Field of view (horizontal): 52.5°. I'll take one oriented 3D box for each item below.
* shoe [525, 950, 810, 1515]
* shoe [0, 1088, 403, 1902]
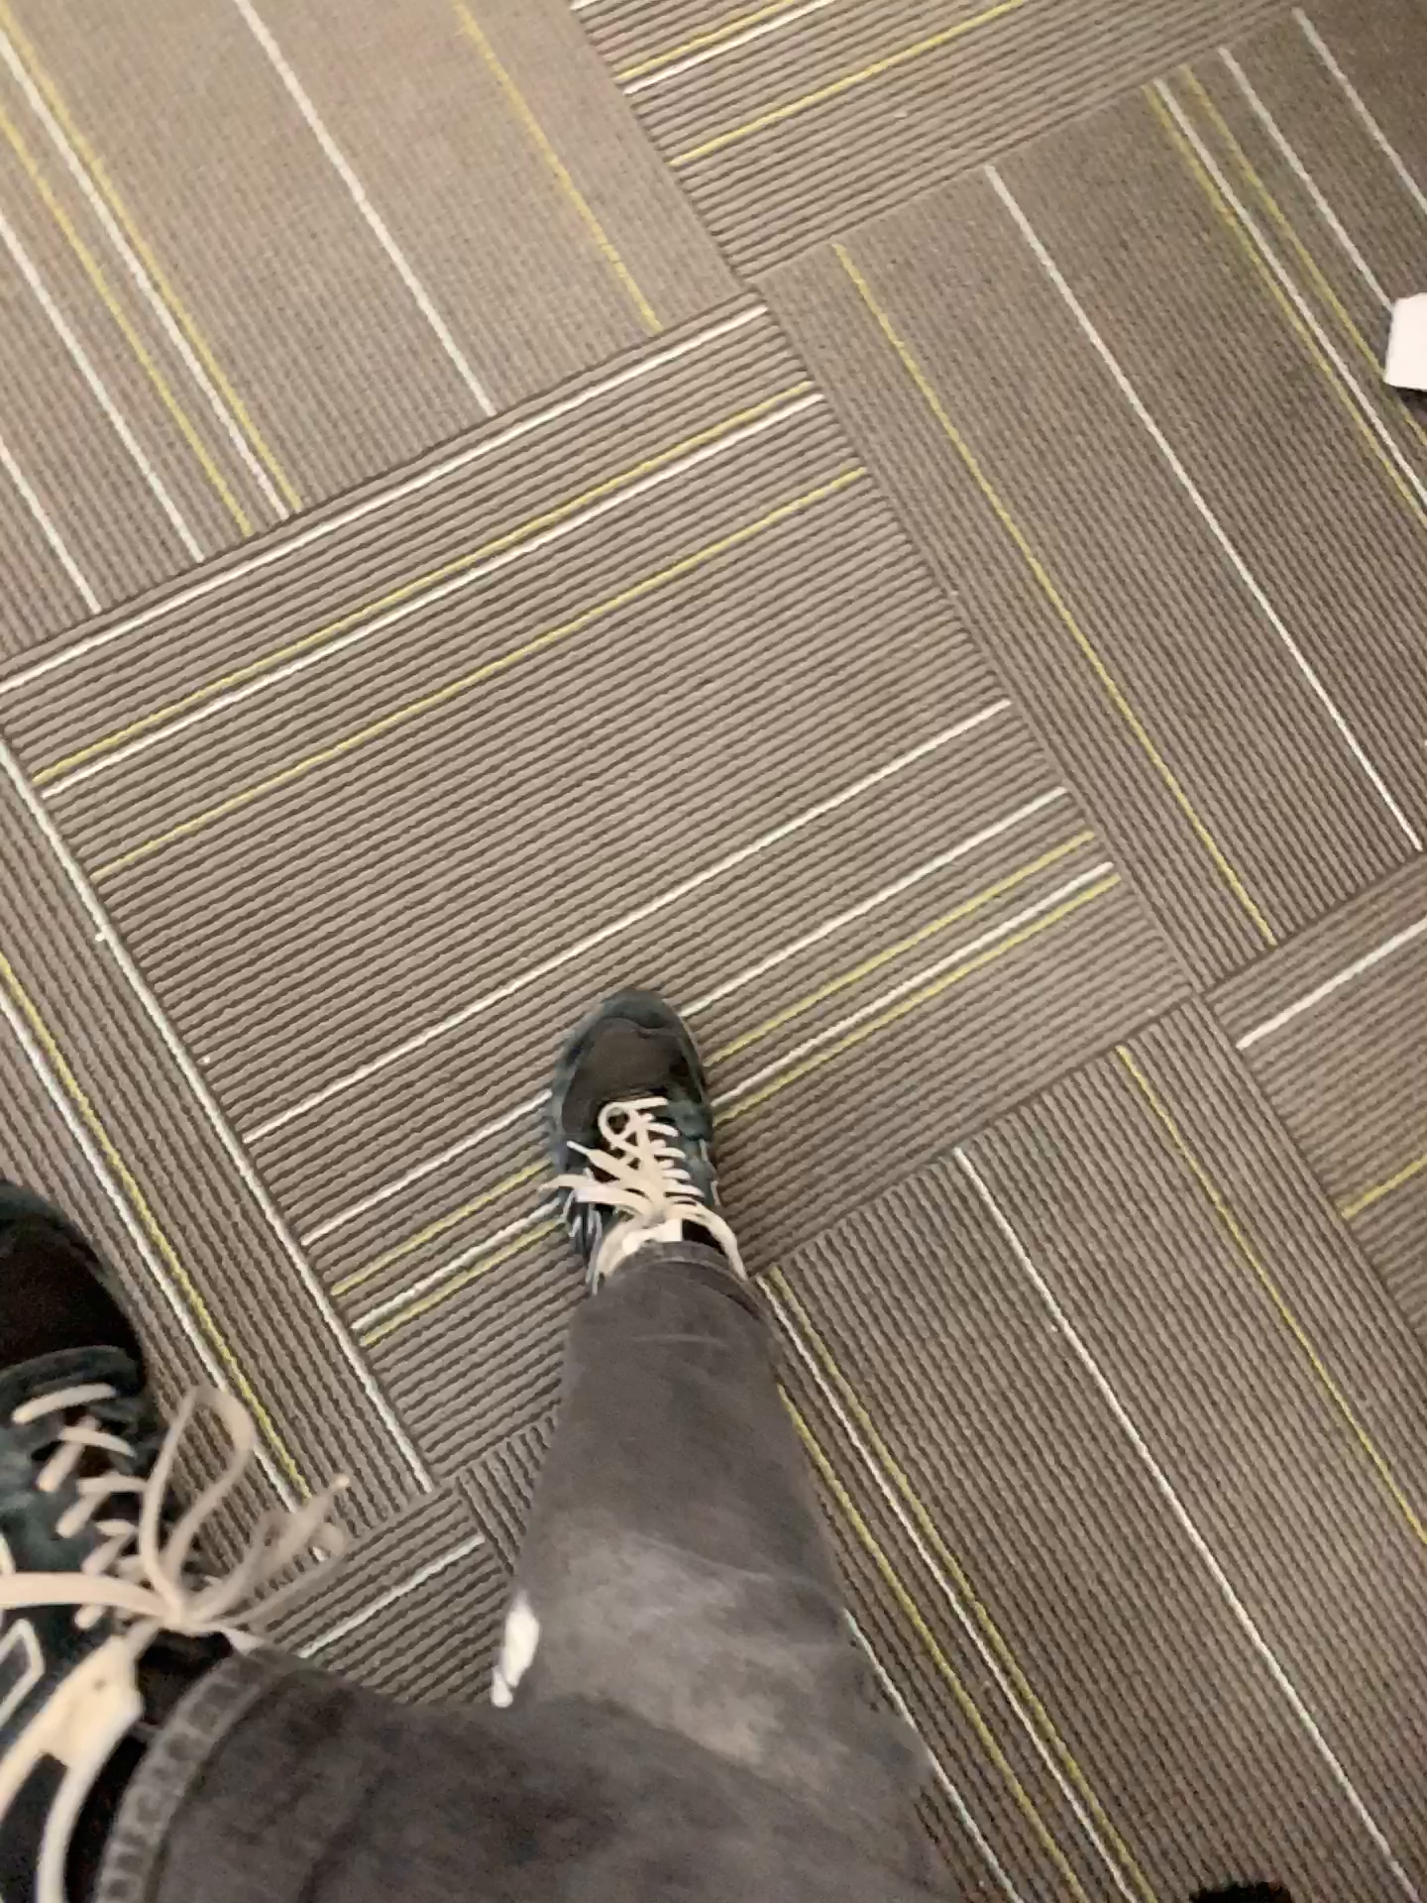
[{"bbox_3d":[-0.036,0.166,0.898,0.115,0.133,0.304,-9,83,-8],"label":"shoe"},{"bbox_3d":[-0.210,0.208,0.458,0.133,0.115,0.304,-13,83,27],"label":"shoe"}]
